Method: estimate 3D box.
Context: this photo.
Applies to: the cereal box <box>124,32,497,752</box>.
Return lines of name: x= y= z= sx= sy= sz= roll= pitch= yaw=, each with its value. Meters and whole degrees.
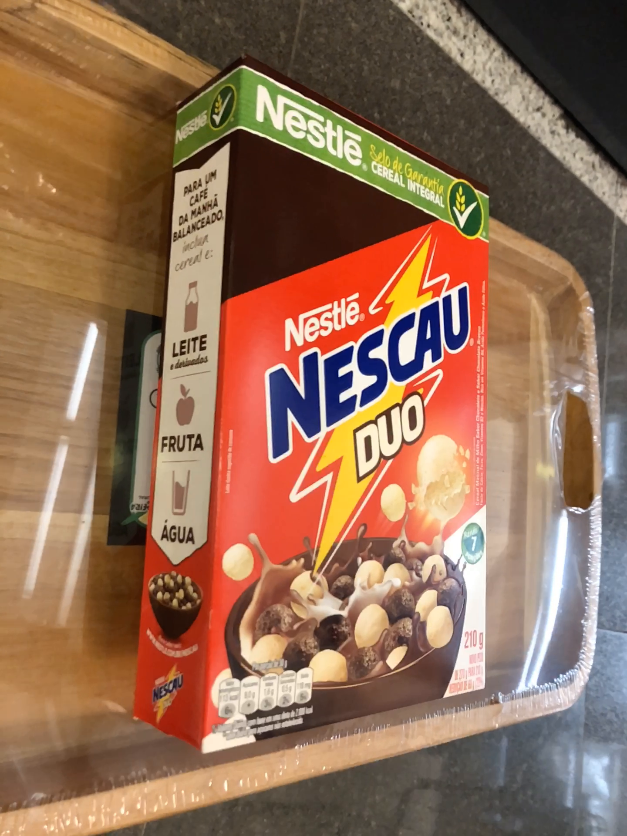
cereal box: x=0.012 y=-0.006 z=0.309 sx=0.161 sy=0.050 sz=0.250 roll=9 pitch=81 yaw=-40
